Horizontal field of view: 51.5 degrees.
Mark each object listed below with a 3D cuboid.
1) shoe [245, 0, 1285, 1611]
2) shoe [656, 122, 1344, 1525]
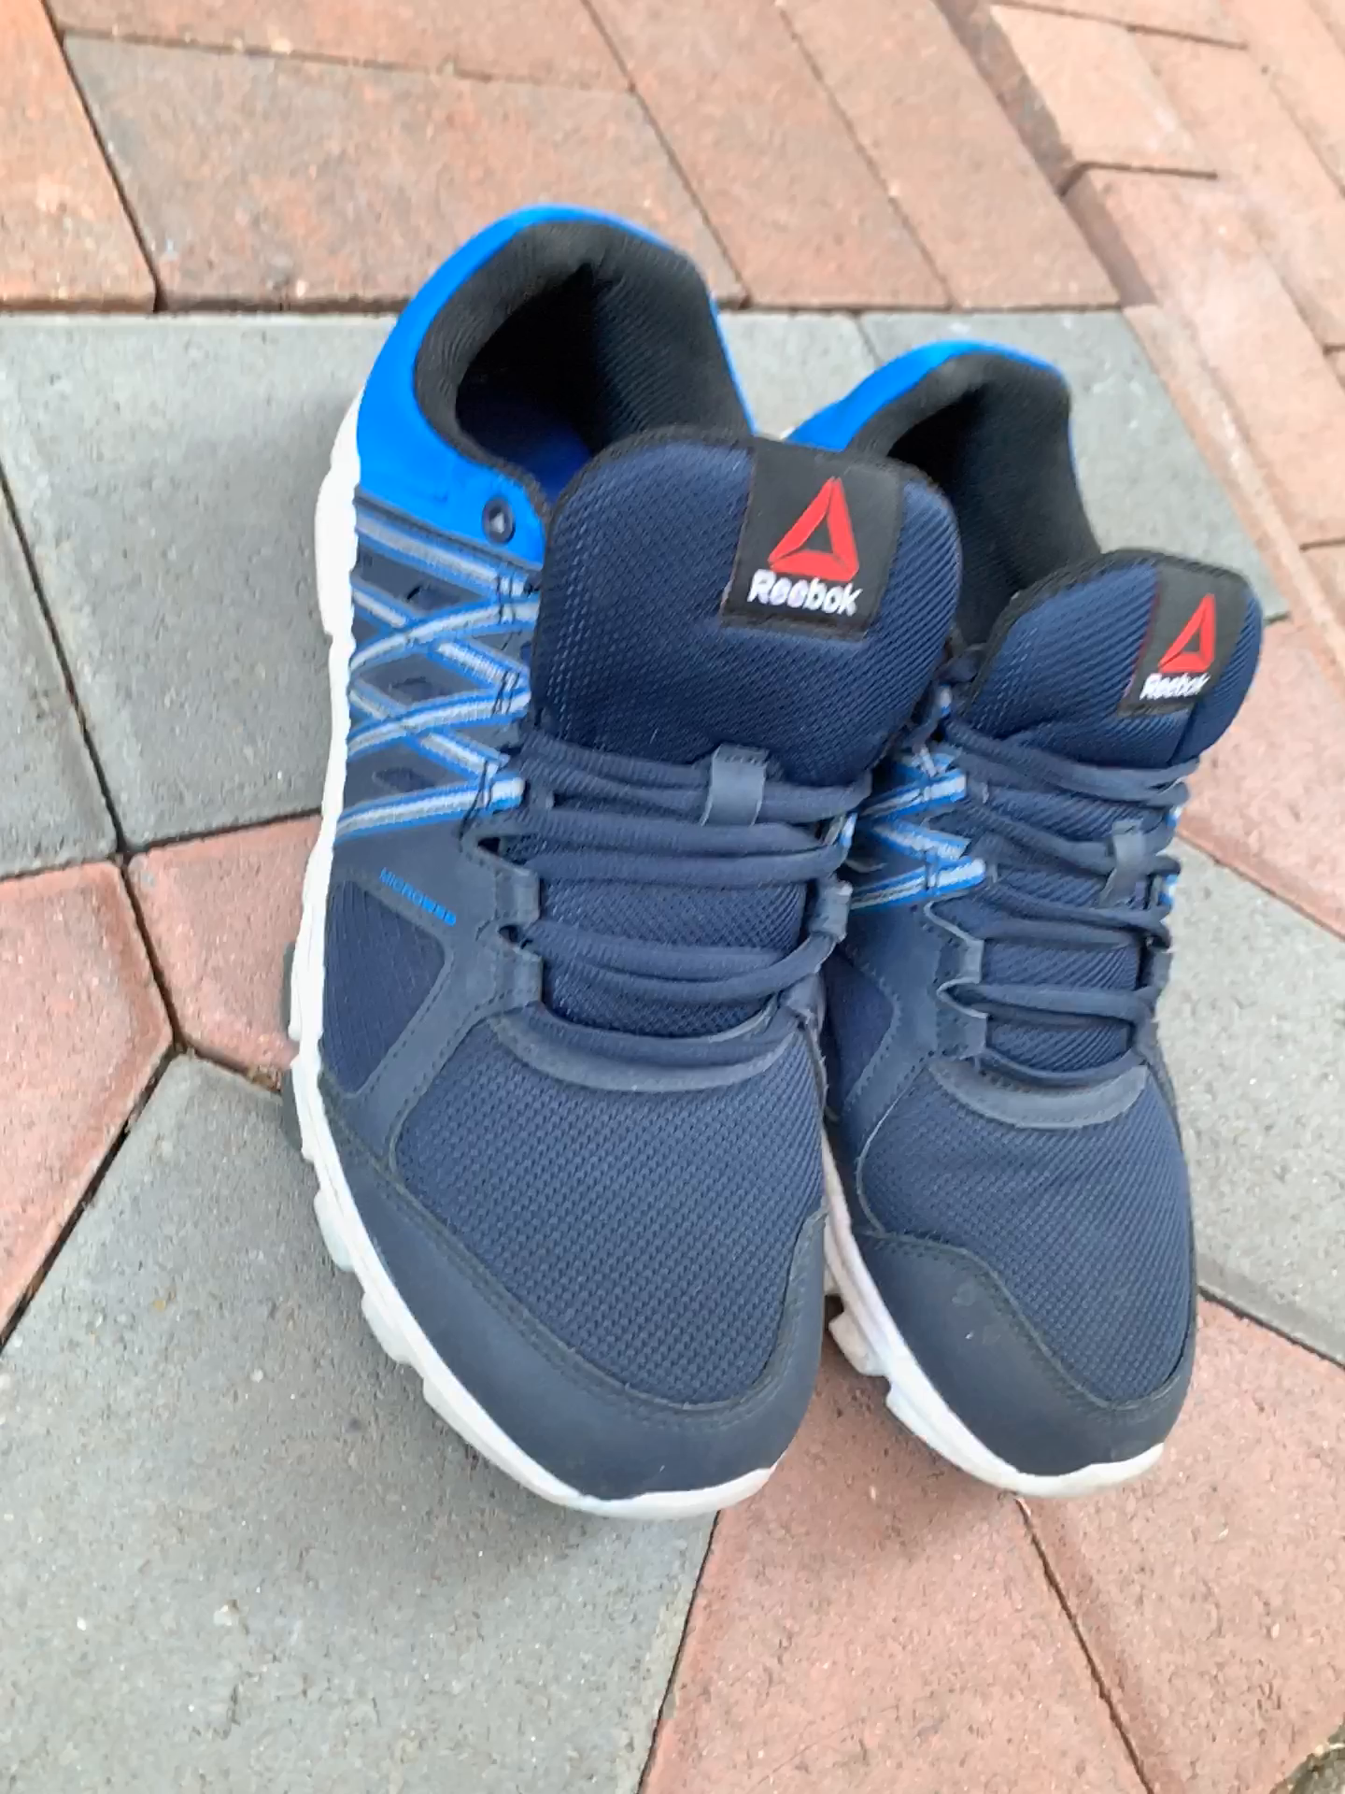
[{"bbox_3d":[-0.010,-0.023,0.261,0.110,0.119,0.261,3,65,-26],"label":"shoe"},{"bbox_3d":[0.089,-0.016,0.327,0.110,0.119,0.281,3,65,-26],"label":"shoe"}]
